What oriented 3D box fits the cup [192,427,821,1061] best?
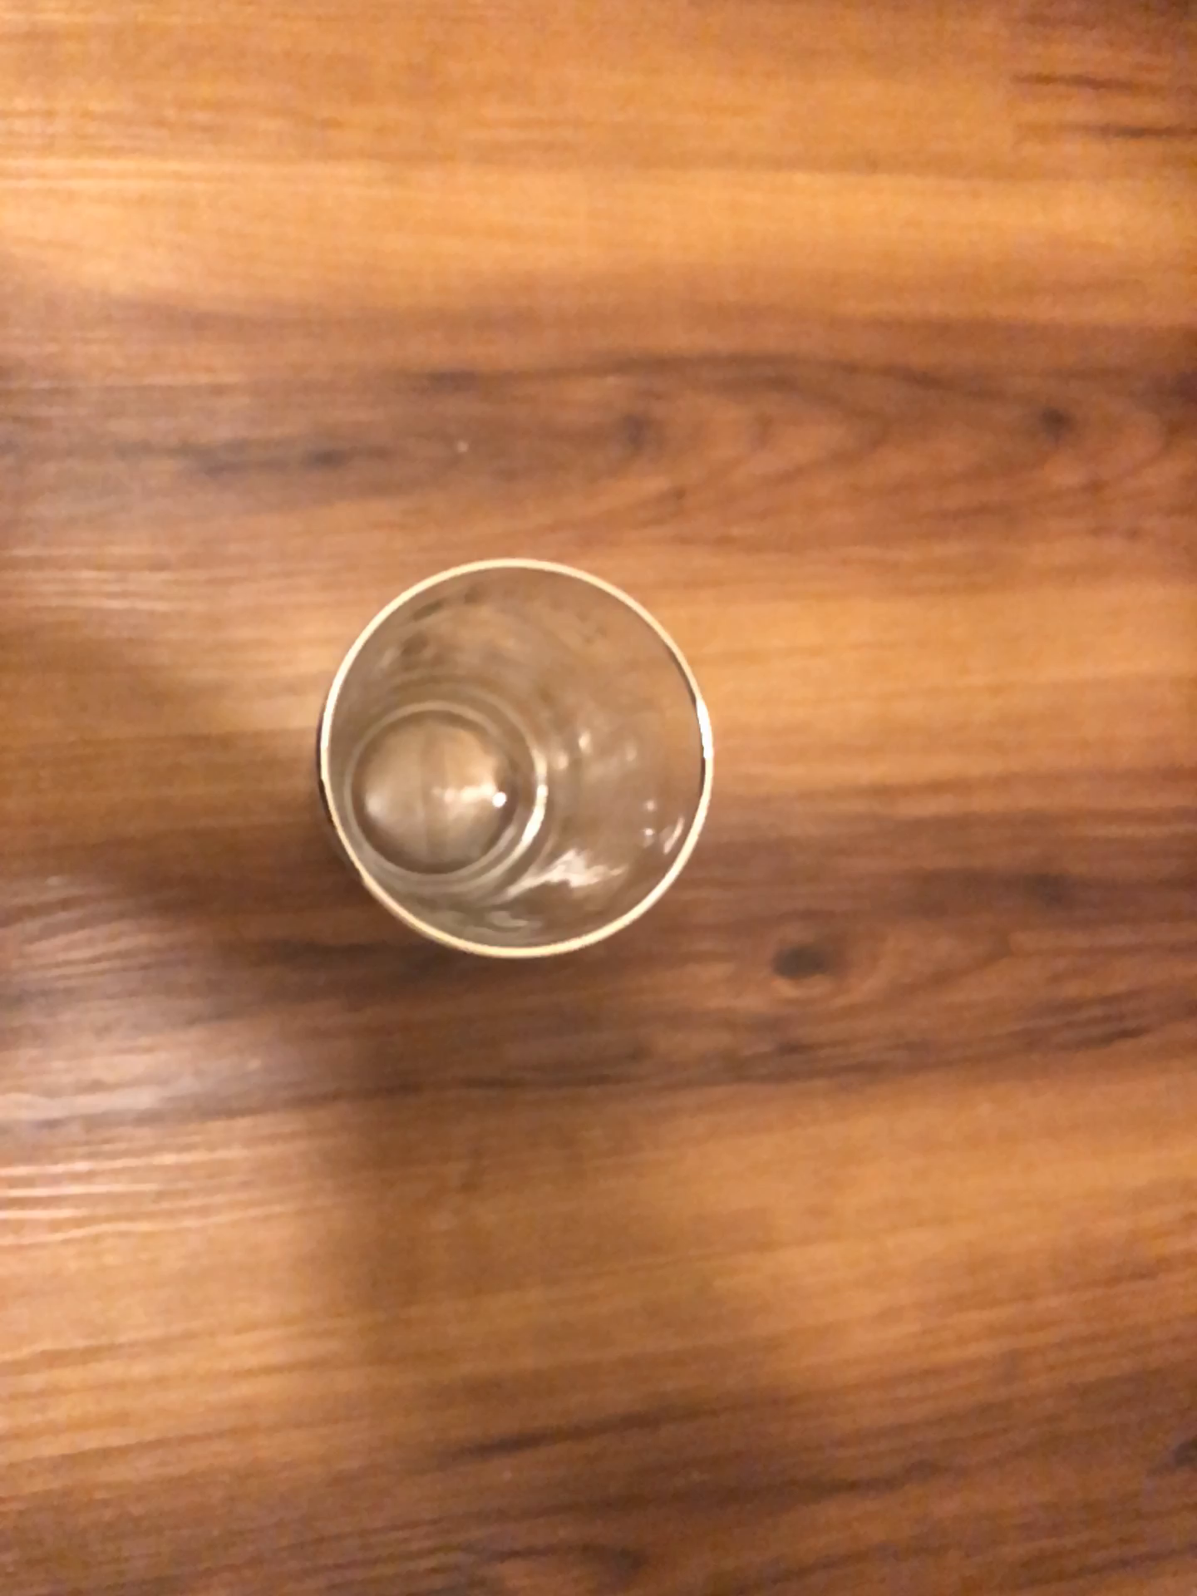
[{"bbox_3d":[-0.028,-0.006,0.276,0.068,0.151,0.067,0,88,-12],"label":"cup"}]
